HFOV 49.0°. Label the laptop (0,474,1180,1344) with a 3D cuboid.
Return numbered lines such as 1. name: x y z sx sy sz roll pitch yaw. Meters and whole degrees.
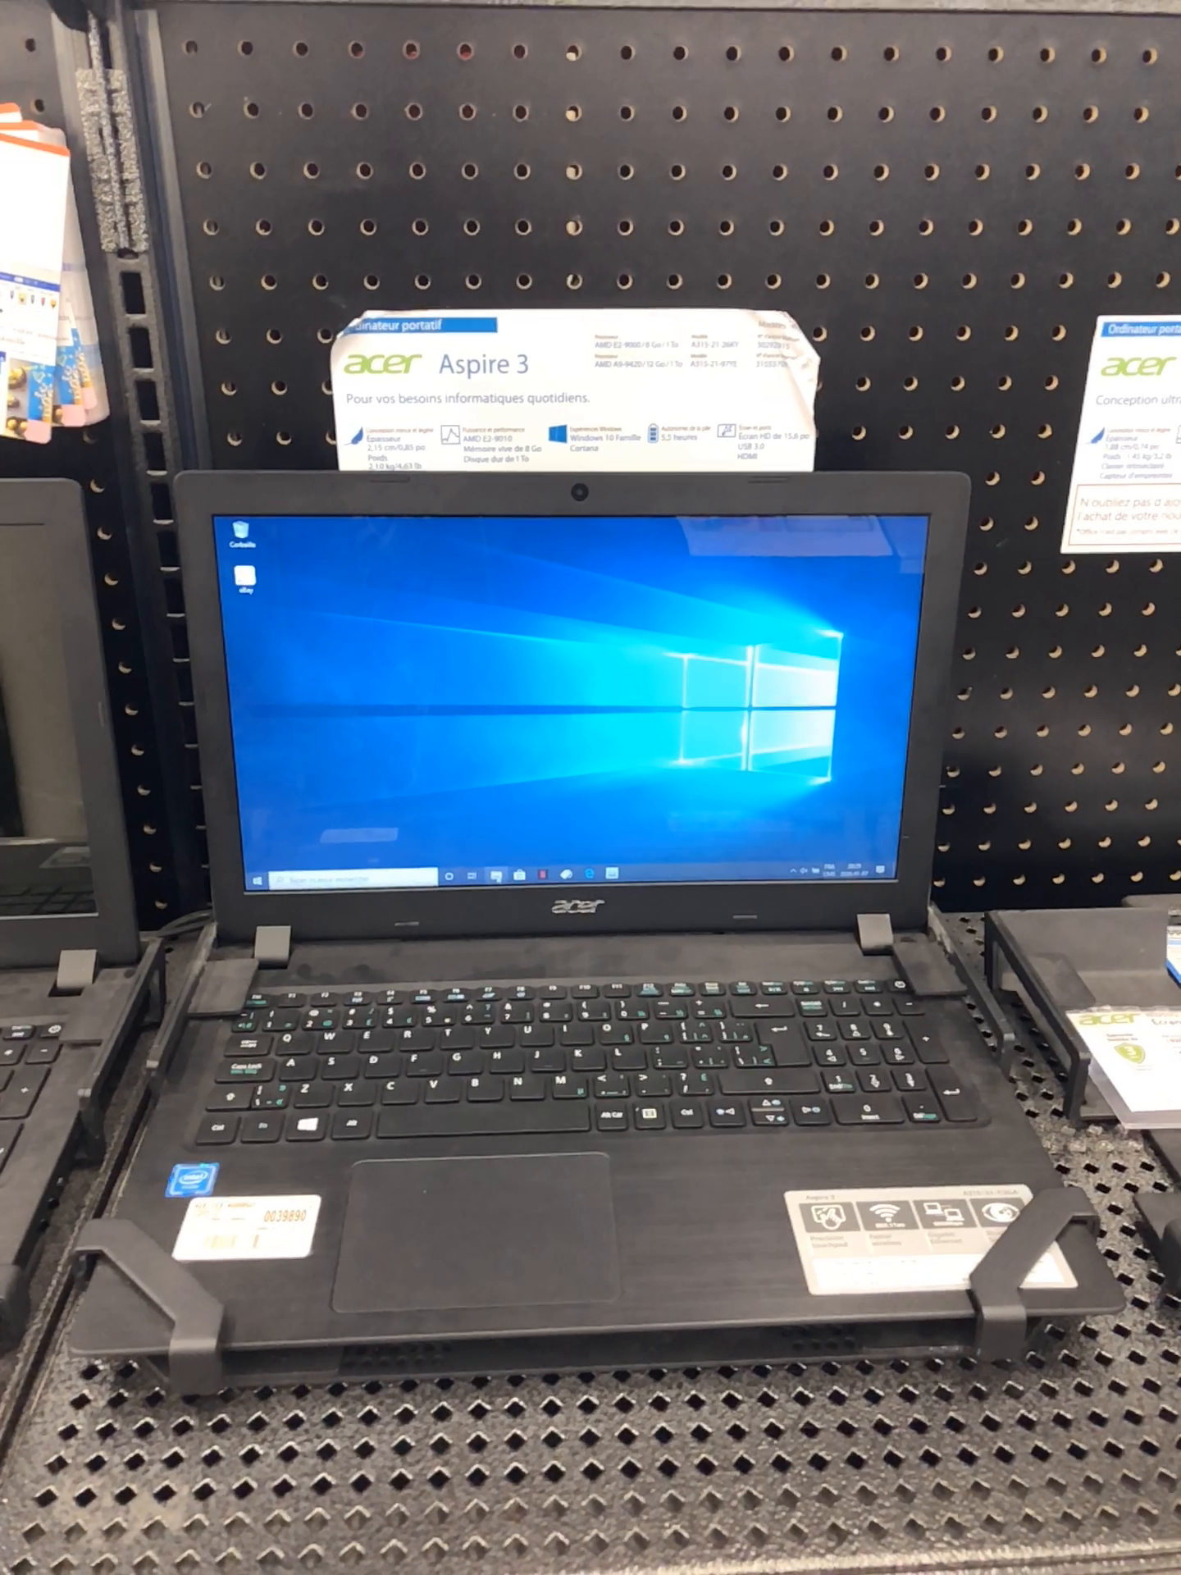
1. laptop: -0.002 0.022 0.560 0.386 0.247 0.296 -1 25 -2
